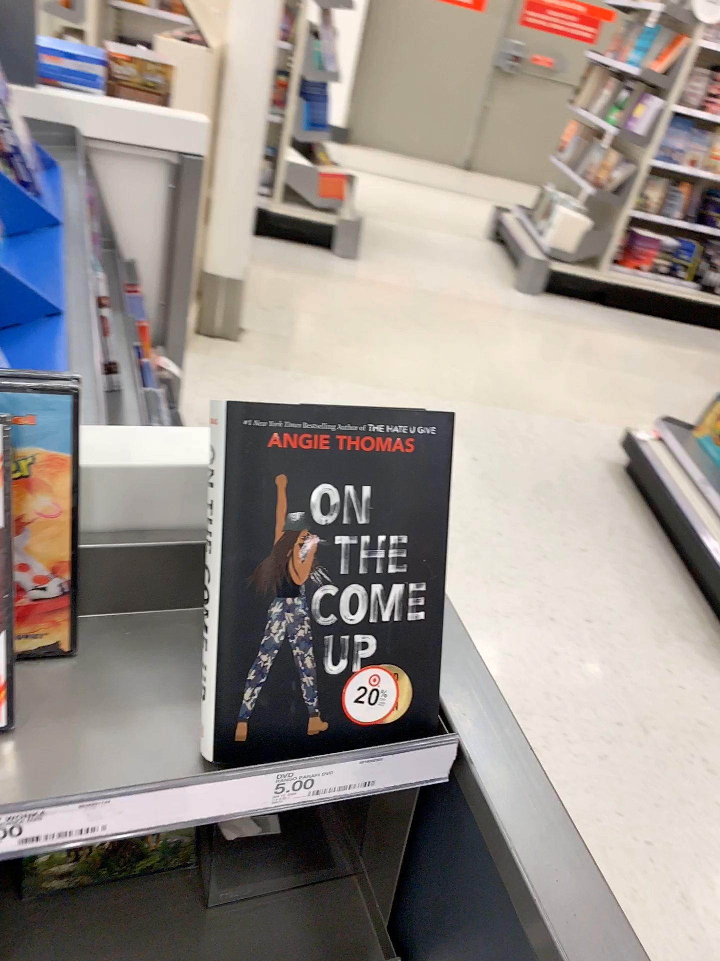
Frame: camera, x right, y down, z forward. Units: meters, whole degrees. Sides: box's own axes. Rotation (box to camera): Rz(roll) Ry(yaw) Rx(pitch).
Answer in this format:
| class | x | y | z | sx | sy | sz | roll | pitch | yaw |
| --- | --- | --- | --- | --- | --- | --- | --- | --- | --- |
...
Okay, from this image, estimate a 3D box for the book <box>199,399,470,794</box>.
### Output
| class | x | y | z | sx | sy | sz | roll | pitch | yaw |
| --- | --- | --- | --- | --- | --- | --- | --- | --- | --- |
| book | -0.018 | 0.065 | 0.463 | 0.149 | 0.222 | 0.056 | 1 | 6 | -21 |
